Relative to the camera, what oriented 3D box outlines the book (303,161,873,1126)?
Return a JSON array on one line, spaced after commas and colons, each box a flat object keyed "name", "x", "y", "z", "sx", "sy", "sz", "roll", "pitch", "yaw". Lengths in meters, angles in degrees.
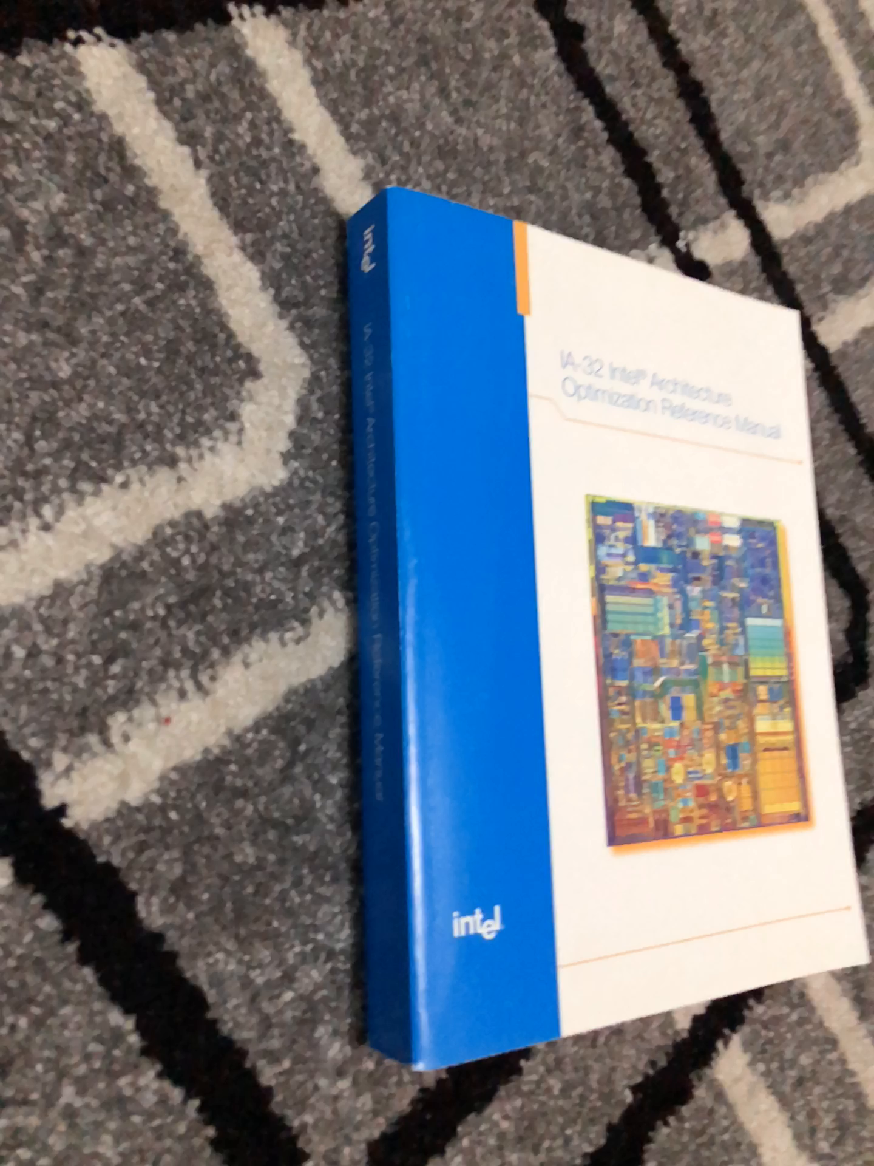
[{"name": "book", "x": 0.052, "y": 0.011, "z": 0.271, "sx": 0.171, "sy": 0.040, "sz": 0.210, "roll": 3, "pitch": 79, "yaw": -32}]
